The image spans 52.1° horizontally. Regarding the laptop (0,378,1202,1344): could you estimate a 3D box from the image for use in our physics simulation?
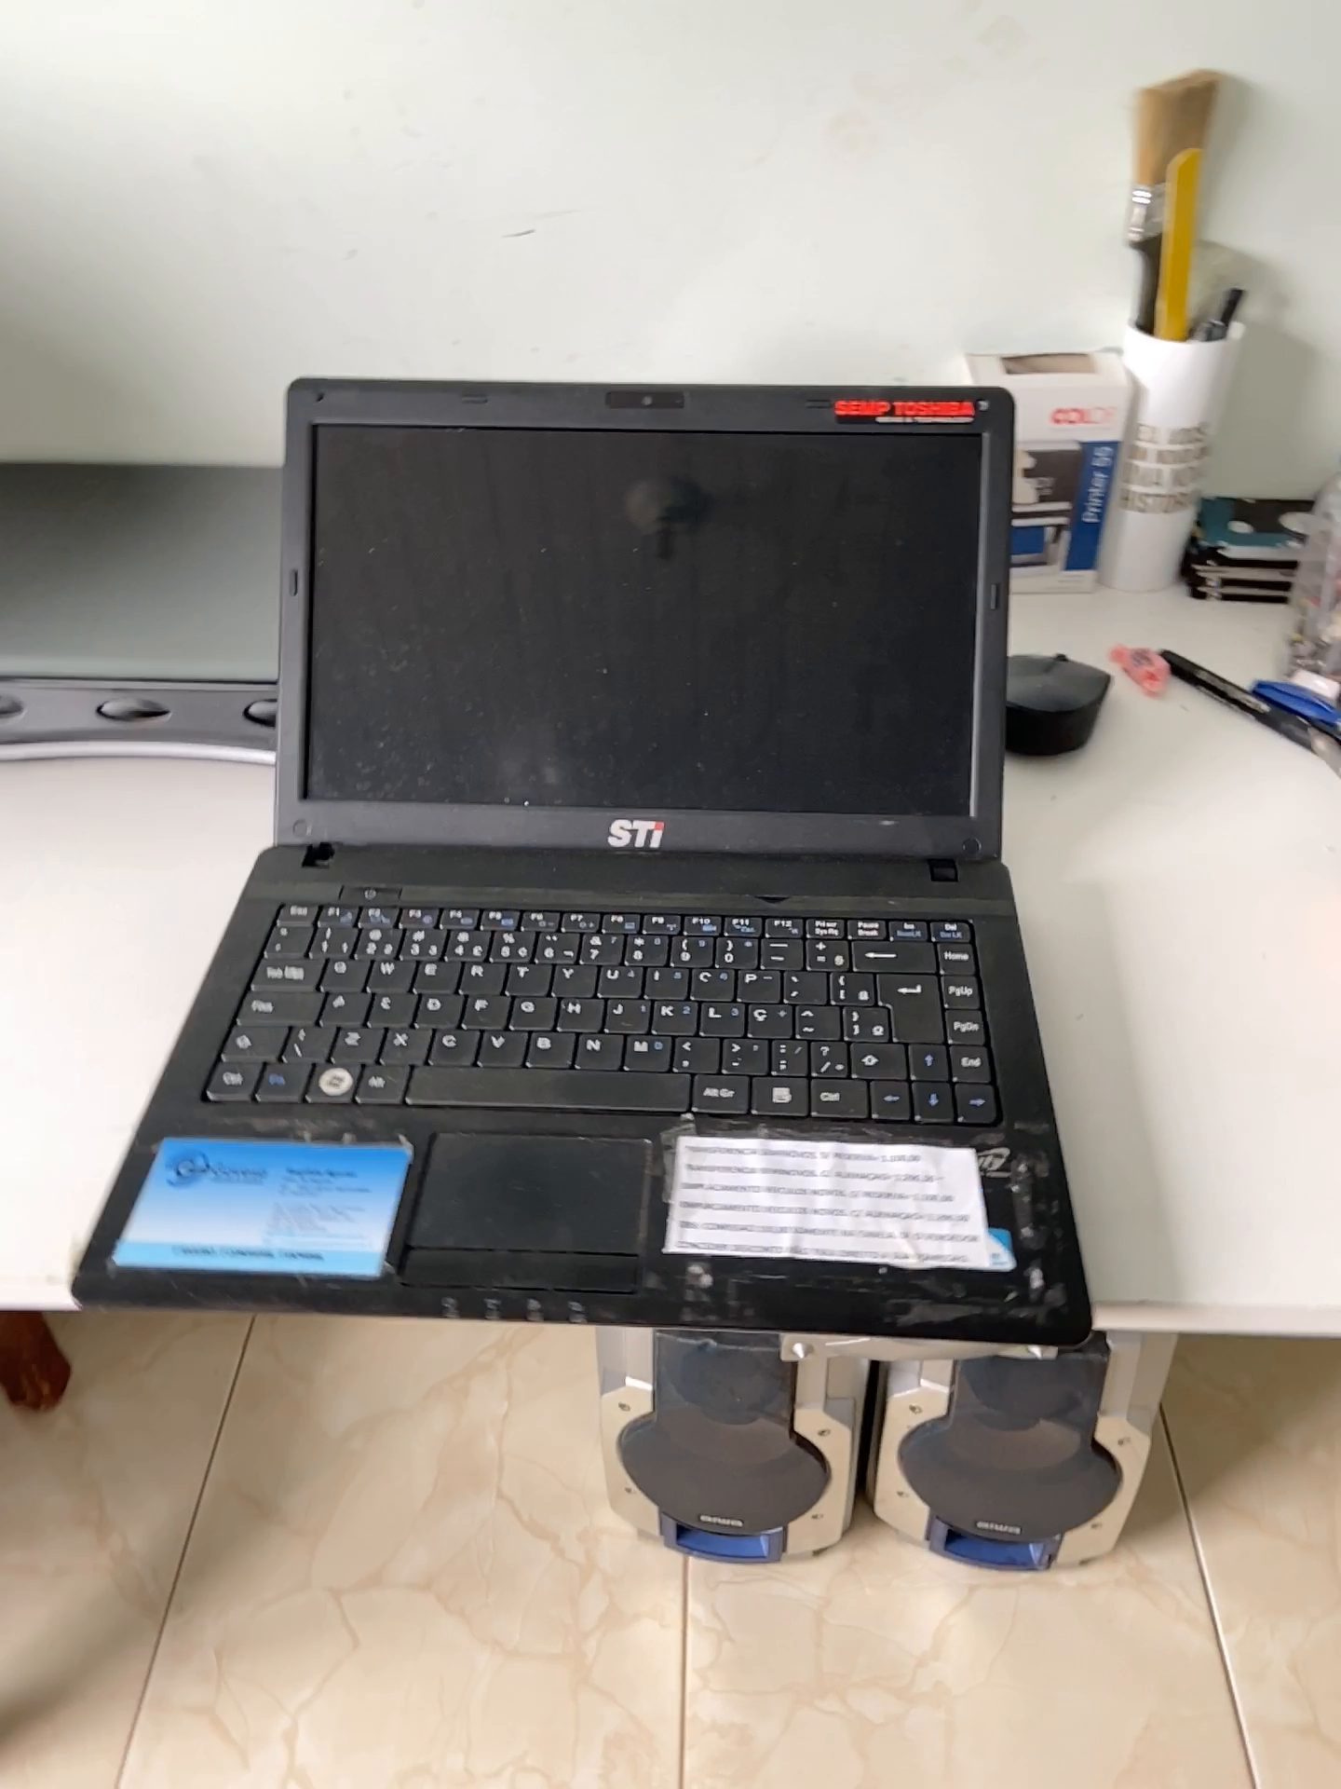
[{"bbox_3d":[-0.022,-0.049,0.541,0.334,0.159,0.386,2,41,3],"label":"laptop"}]
